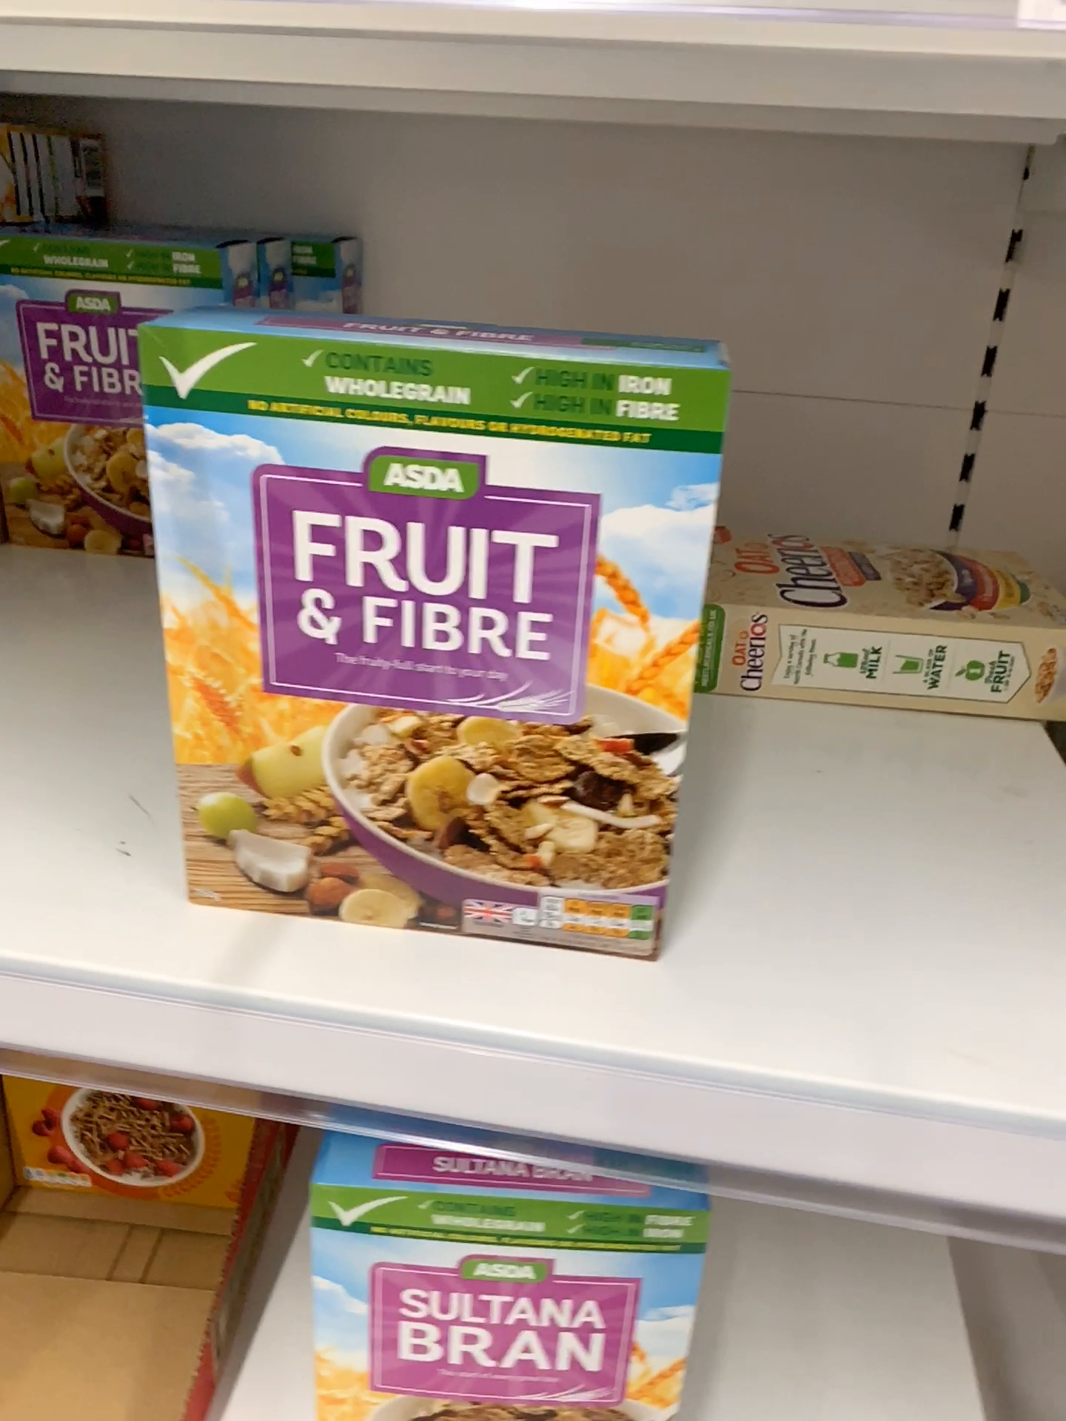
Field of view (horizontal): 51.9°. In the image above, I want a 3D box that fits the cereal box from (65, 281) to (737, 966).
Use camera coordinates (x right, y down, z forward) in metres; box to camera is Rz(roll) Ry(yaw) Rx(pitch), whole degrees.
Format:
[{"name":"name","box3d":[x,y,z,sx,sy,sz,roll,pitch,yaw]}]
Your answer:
[{"name":"cereal box","box3d":[-0.050,-0.037,0.468,0.240,0.258,0.081,6,23,7]}]
